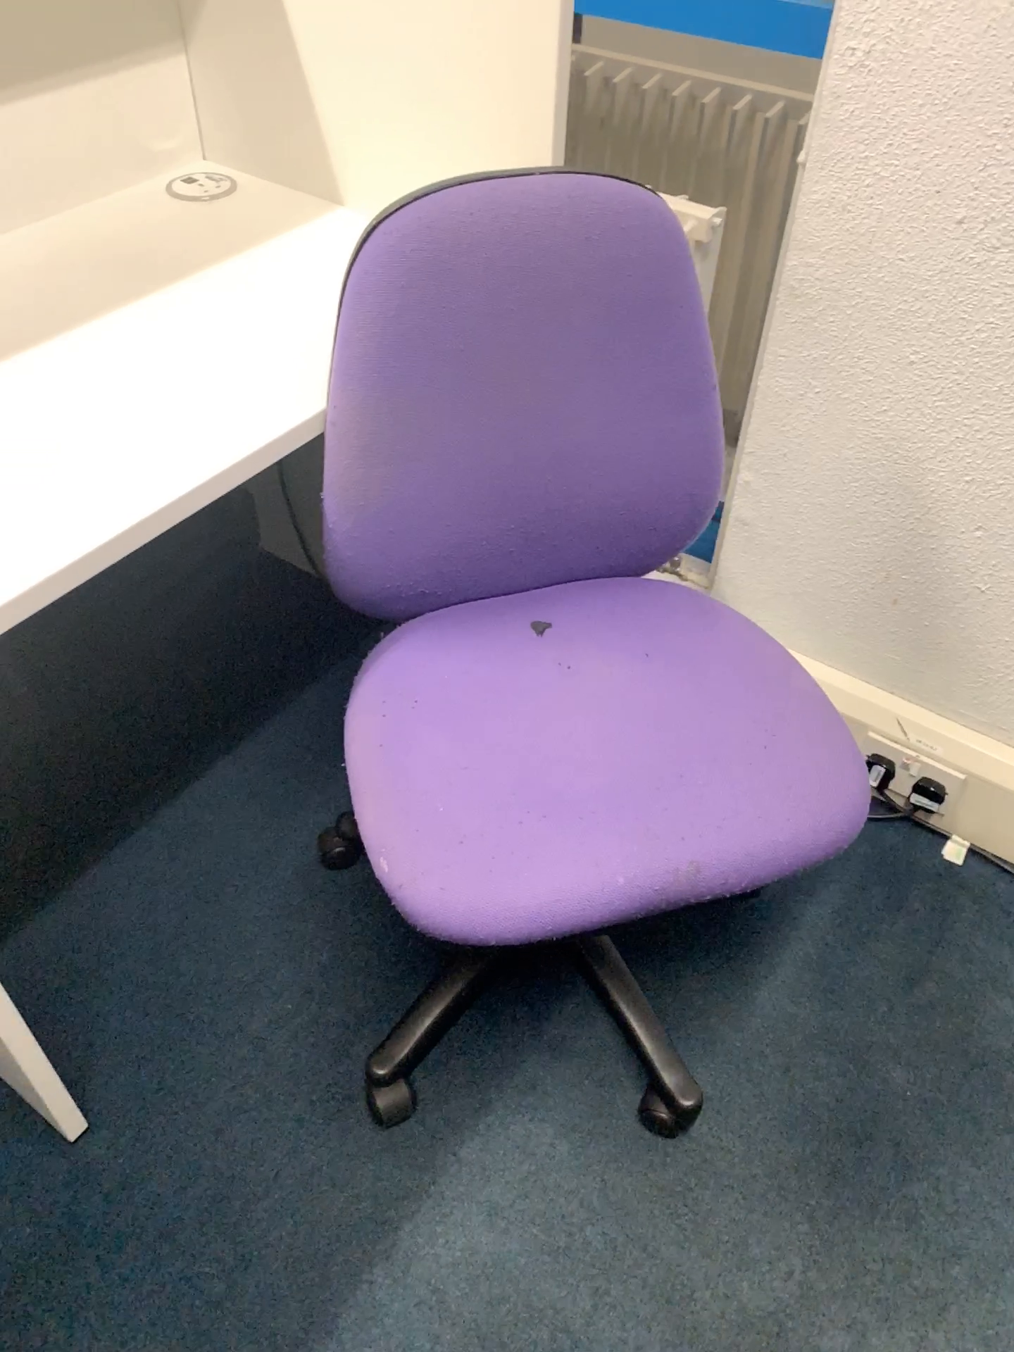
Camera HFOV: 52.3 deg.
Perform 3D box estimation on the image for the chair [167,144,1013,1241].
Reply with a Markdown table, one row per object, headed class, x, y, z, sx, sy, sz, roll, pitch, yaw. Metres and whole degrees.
| class | x | y | z | sx | sy | sz | roll | pitch | yaw |
| --- | --- | --- | --- | --- | --- | --- | --- | --- | --- |
| chair | 0.092 | 0.019 | 1.112 | 0.691 | 0.862 | 0.656 | -10 | 45 | -12 |
